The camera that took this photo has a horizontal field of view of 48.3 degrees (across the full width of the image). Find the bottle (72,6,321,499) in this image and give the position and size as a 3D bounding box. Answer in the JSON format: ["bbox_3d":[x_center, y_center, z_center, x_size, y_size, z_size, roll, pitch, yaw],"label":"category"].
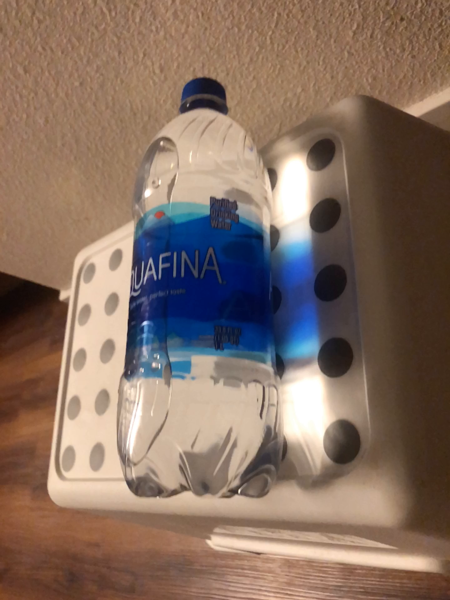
[{"bbox_3d":[-0.010,-0.023,0.286,0.091,0.080,0.250,-18,61,41],"label":"bottle"}]
